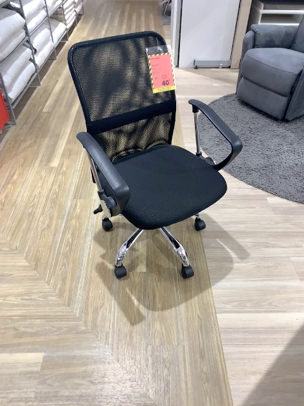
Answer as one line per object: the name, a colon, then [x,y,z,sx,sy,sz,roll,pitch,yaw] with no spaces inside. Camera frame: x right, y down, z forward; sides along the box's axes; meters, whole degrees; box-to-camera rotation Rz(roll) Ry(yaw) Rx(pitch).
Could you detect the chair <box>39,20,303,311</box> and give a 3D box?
chair: [0.039,-0.168,1.282,0.641,0.865,0.603,-22,47,-24]
